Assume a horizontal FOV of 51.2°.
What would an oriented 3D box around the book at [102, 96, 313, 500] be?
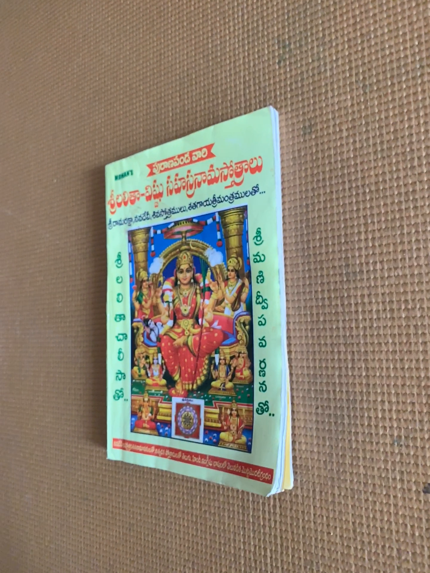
[{"bbox_3d":[-0.015,0.008,0.281,0.141,0.020,0.210,-6,83,35],"label":"book"}]
